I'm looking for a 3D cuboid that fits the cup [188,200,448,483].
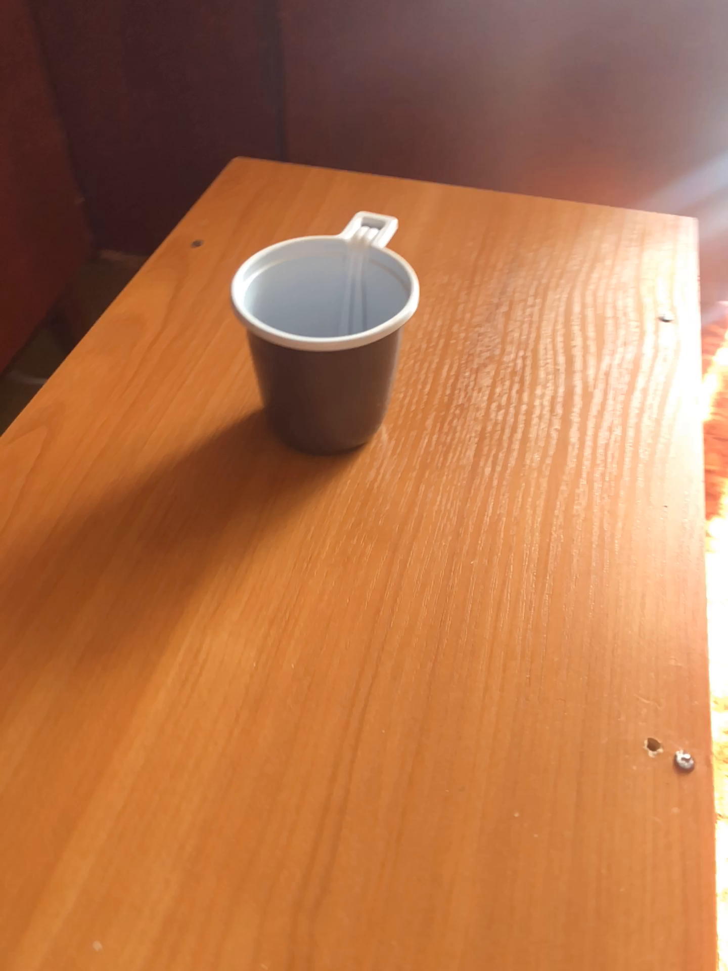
[{"bbox_3d":[-0.015,-0.064,0.342,0.070,0.060,0.100,15,48,14],"label":"cup"}]
